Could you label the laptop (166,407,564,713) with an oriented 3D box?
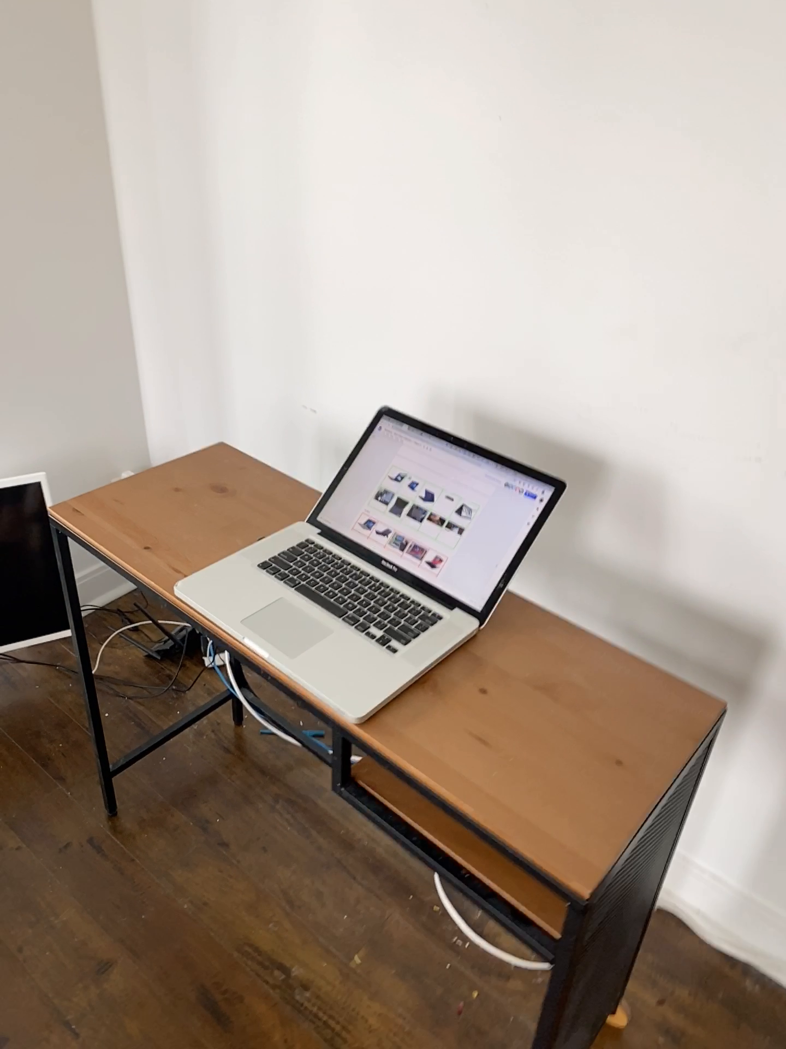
[{"bbox_3d":[-0.031,0.014,1.162,0.360,0.155,0.436,27,39,33],"label":"laptop"}]
